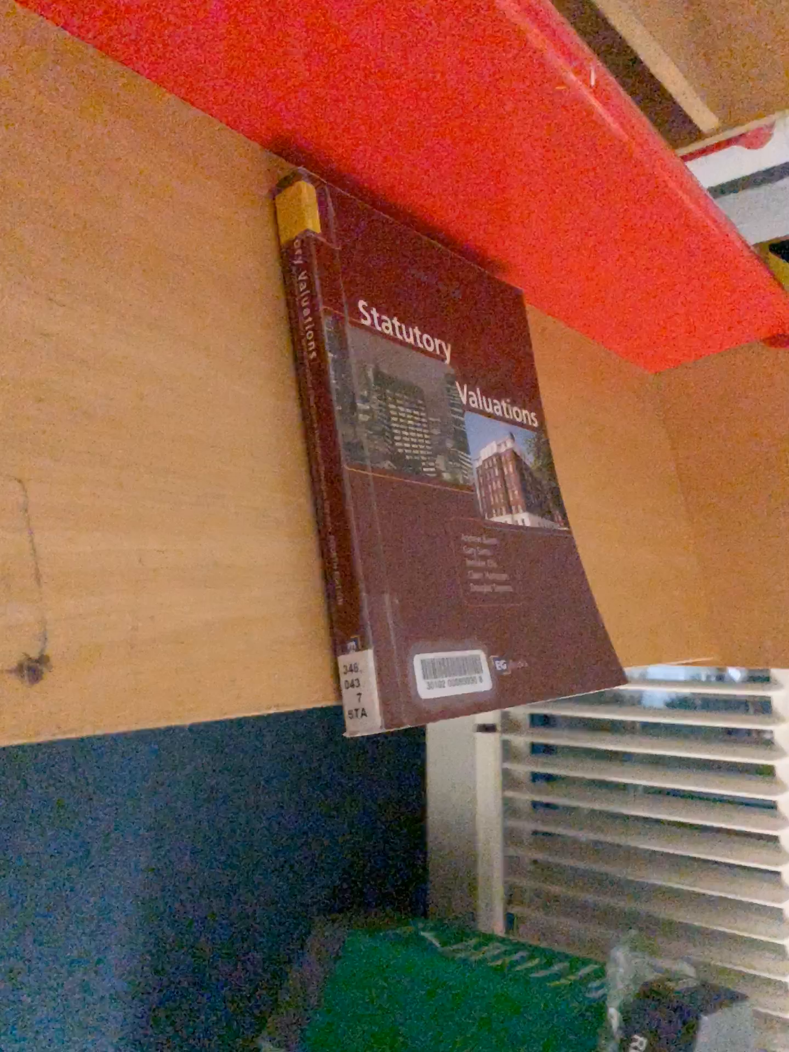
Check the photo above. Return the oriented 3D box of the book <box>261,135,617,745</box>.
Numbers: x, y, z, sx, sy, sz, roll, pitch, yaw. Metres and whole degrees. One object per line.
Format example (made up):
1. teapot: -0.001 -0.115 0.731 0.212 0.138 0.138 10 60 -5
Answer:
1. book: 0.030 -0.035 0.399 0.190 0.027 0.252 8 69 -51
